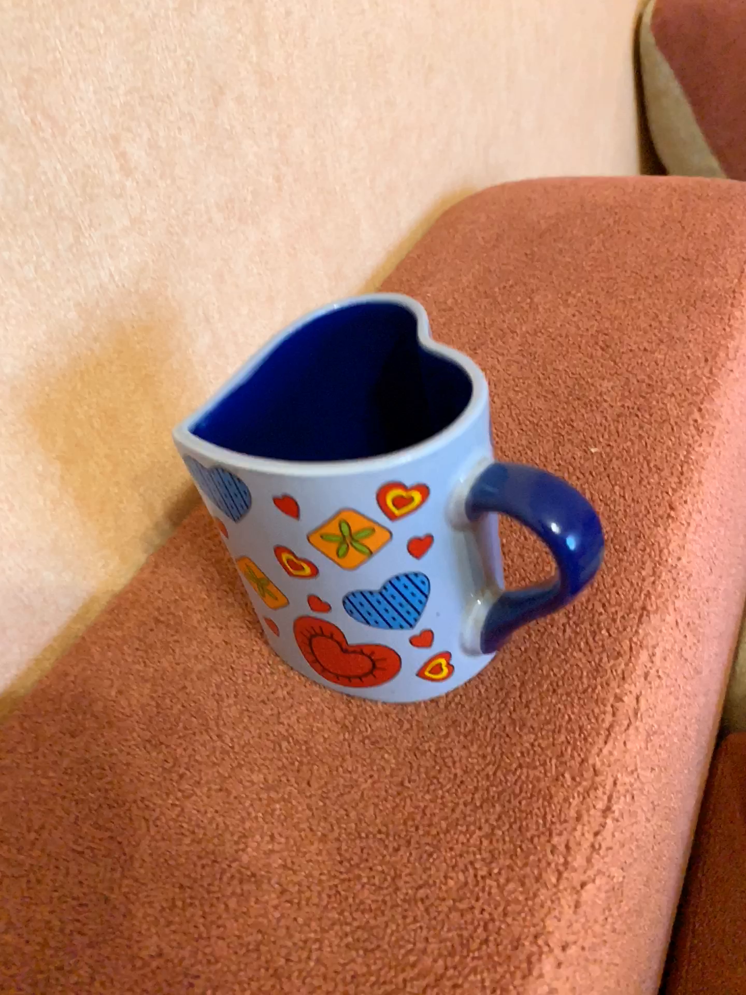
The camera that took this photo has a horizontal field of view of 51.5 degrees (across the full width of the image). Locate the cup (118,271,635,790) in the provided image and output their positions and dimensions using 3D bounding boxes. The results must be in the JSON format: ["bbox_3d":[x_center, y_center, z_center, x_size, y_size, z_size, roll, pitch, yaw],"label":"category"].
[{"bbox_3d":[0.009,0.003,0.220,0.098,0.089,0.088,16,50,29],"label":"cup"}]
